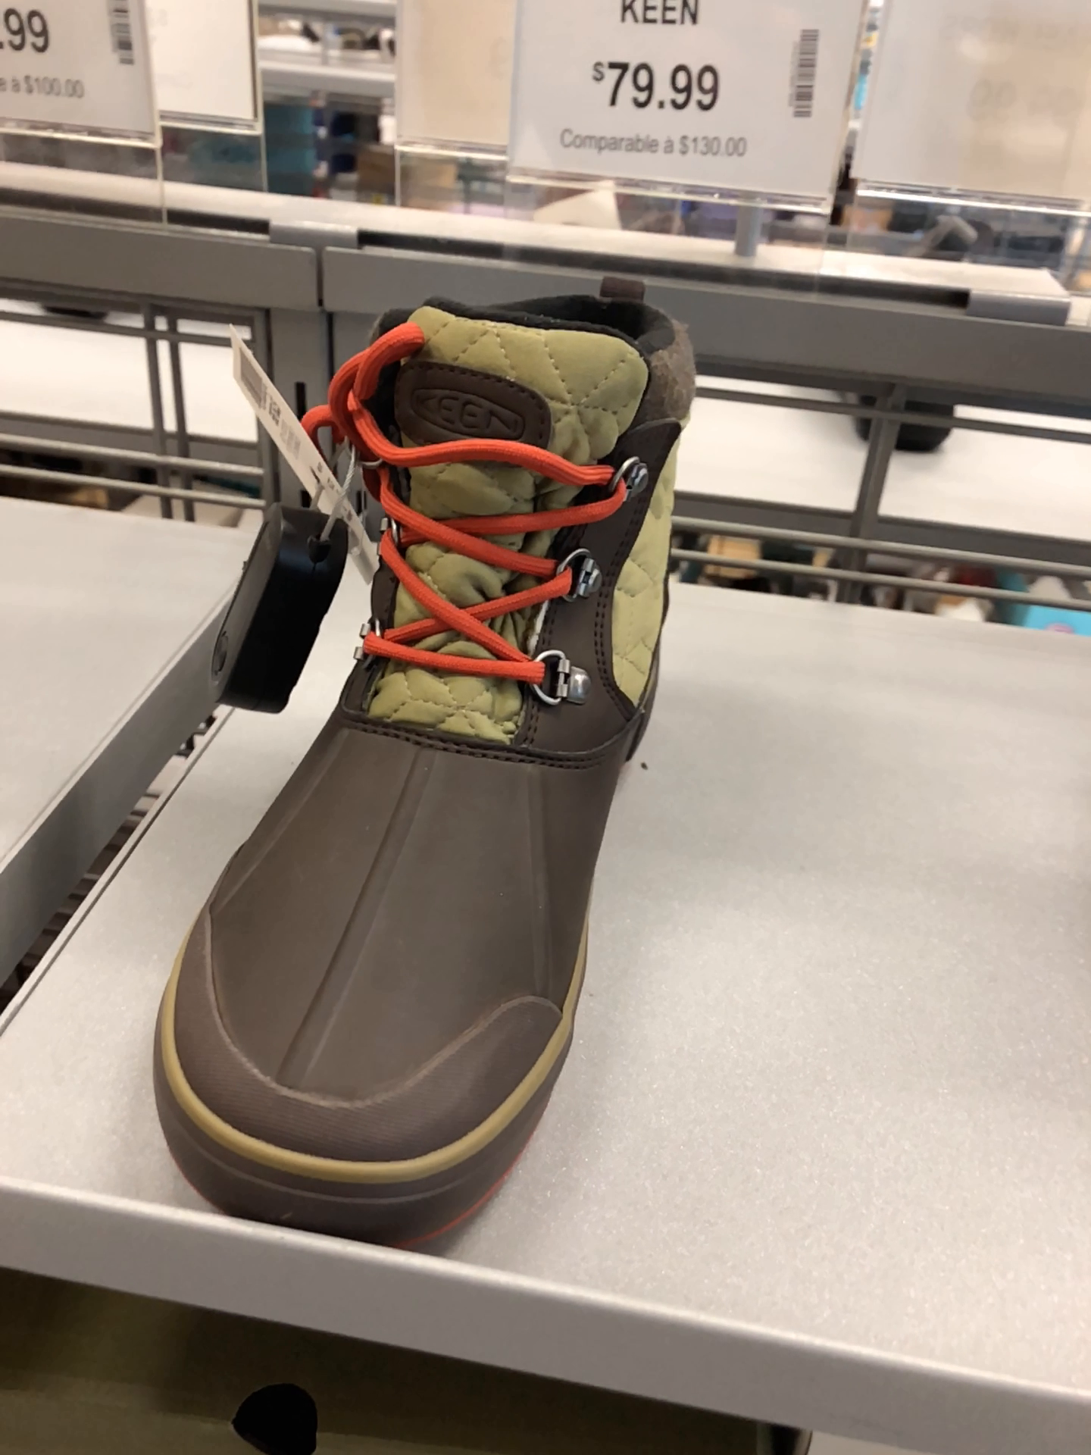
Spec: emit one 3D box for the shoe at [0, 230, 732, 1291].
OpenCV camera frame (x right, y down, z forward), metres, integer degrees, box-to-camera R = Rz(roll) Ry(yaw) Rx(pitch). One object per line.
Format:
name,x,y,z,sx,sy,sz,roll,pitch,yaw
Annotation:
shoe,-0.024,-0.026,0.313,0.107,0.139,0.262,9,33,7
